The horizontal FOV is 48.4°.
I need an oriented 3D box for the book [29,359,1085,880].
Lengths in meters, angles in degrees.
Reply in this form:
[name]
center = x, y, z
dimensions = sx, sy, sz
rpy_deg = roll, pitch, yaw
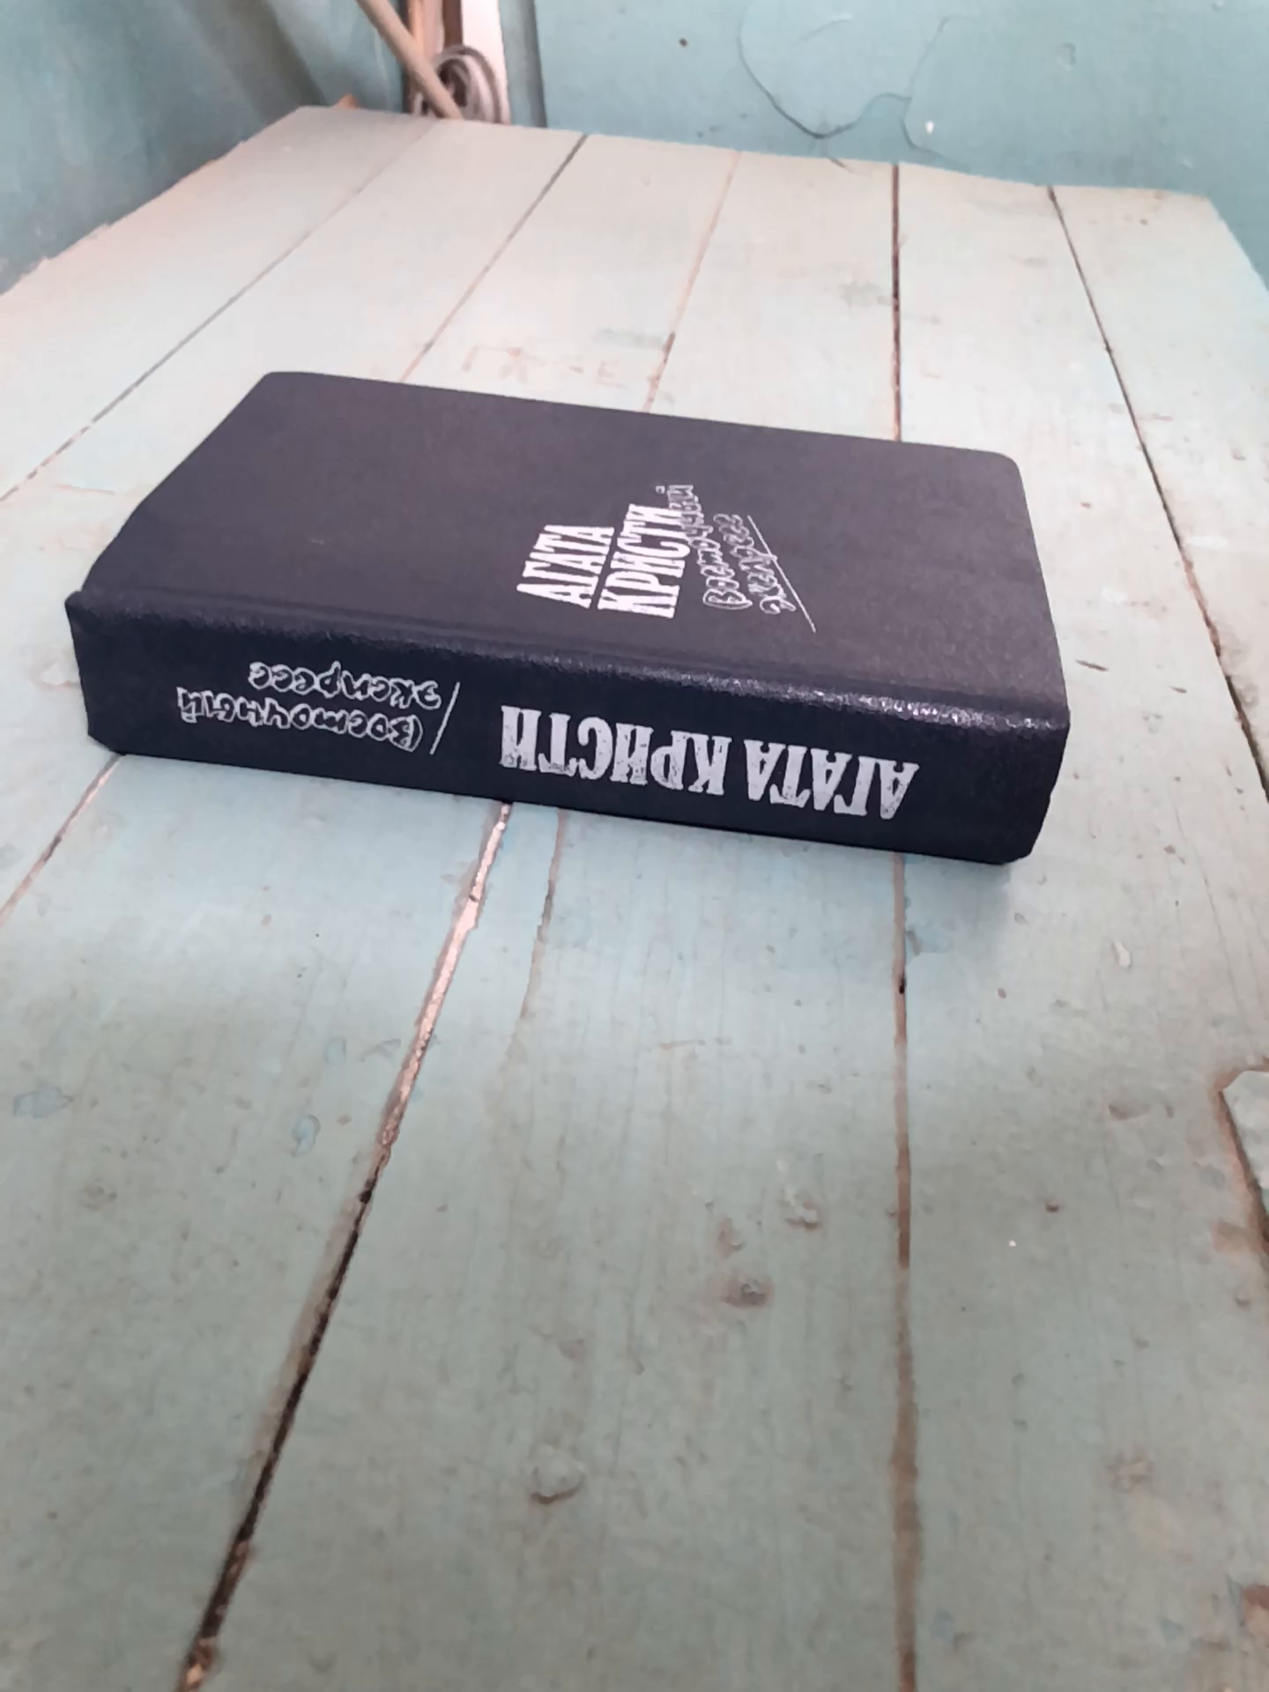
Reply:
[book]
center = -0.011, -0.064, 0.344
dimensions = 0.210, 0.040, 0.138
rpy_deg = 7, 38, 2
